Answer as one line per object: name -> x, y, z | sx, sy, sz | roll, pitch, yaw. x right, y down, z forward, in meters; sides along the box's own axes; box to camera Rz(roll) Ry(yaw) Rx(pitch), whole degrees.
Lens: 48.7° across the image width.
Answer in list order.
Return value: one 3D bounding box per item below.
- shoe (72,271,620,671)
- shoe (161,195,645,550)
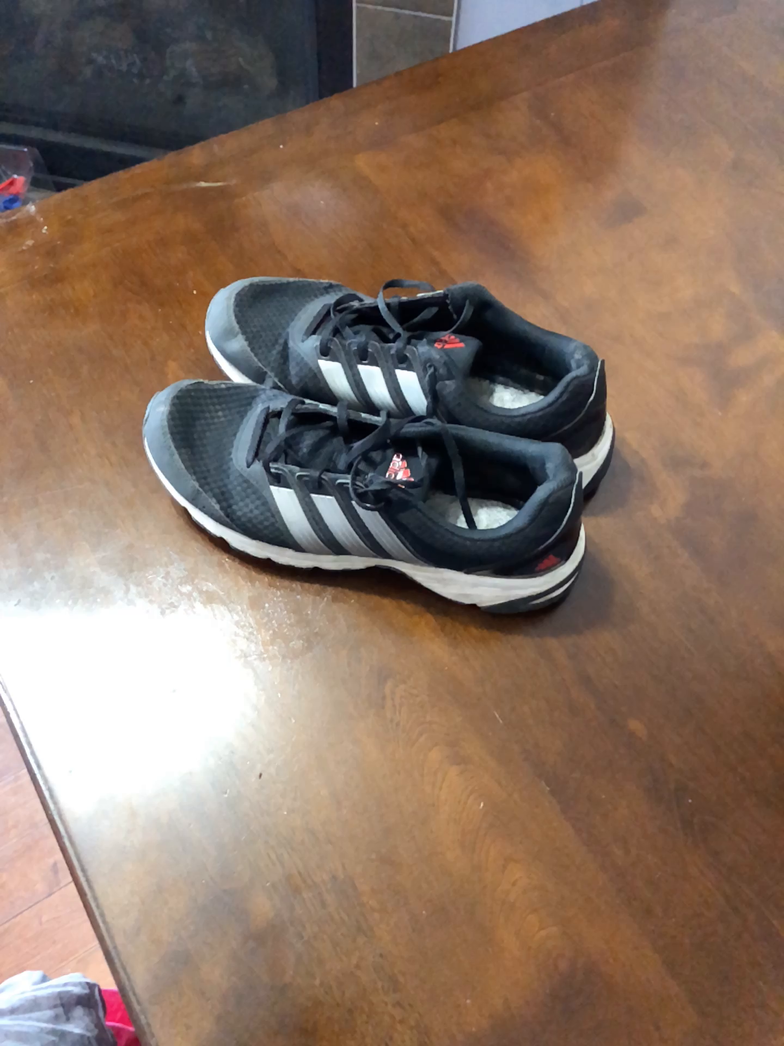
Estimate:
shoe -> -0.026, -0.031, 0.553 | 0.290, 0.130, 0.120 | 19, 61, 8
shoe -> 0.007, -0.106, 0.612 | 0.290, 0.120, 0.120 | 19, 61, 8
